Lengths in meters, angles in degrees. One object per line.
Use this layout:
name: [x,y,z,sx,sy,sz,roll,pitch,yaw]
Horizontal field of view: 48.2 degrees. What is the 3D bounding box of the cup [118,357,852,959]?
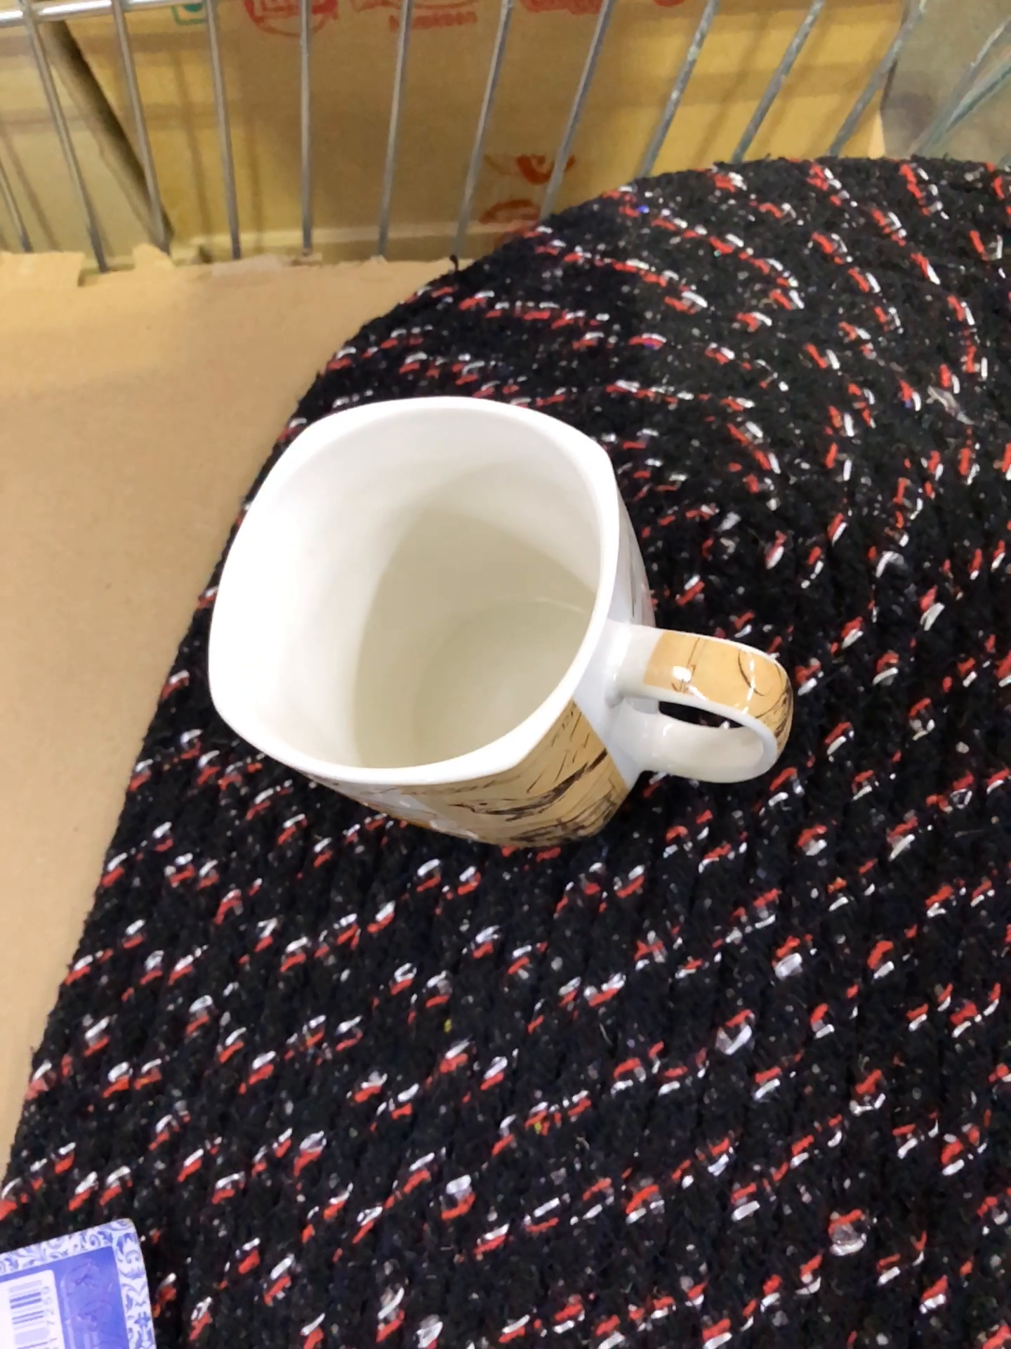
cup: [0.004,-0.004,0.247,0.120,0.080,0.090,10,71,23]
